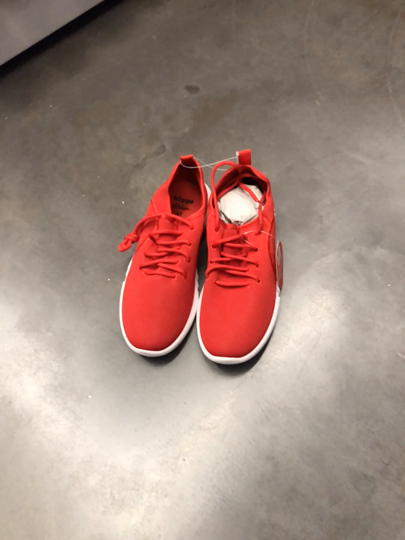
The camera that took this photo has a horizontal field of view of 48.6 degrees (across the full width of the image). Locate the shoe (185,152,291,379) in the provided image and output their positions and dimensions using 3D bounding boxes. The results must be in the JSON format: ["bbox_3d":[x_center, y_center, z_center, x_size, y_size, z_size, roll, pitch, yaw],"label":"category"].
[{"bbox_3d":[0.049,-0.011,0.541,0.100,0.100,0.251,4,62,6],"label":"shoe"}]

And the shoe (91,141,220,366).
[{"bbox_3d":[-0.043,-0.025,0.545,0.100,0.100,0.251,5,62,7],"label":"shoe"}]
